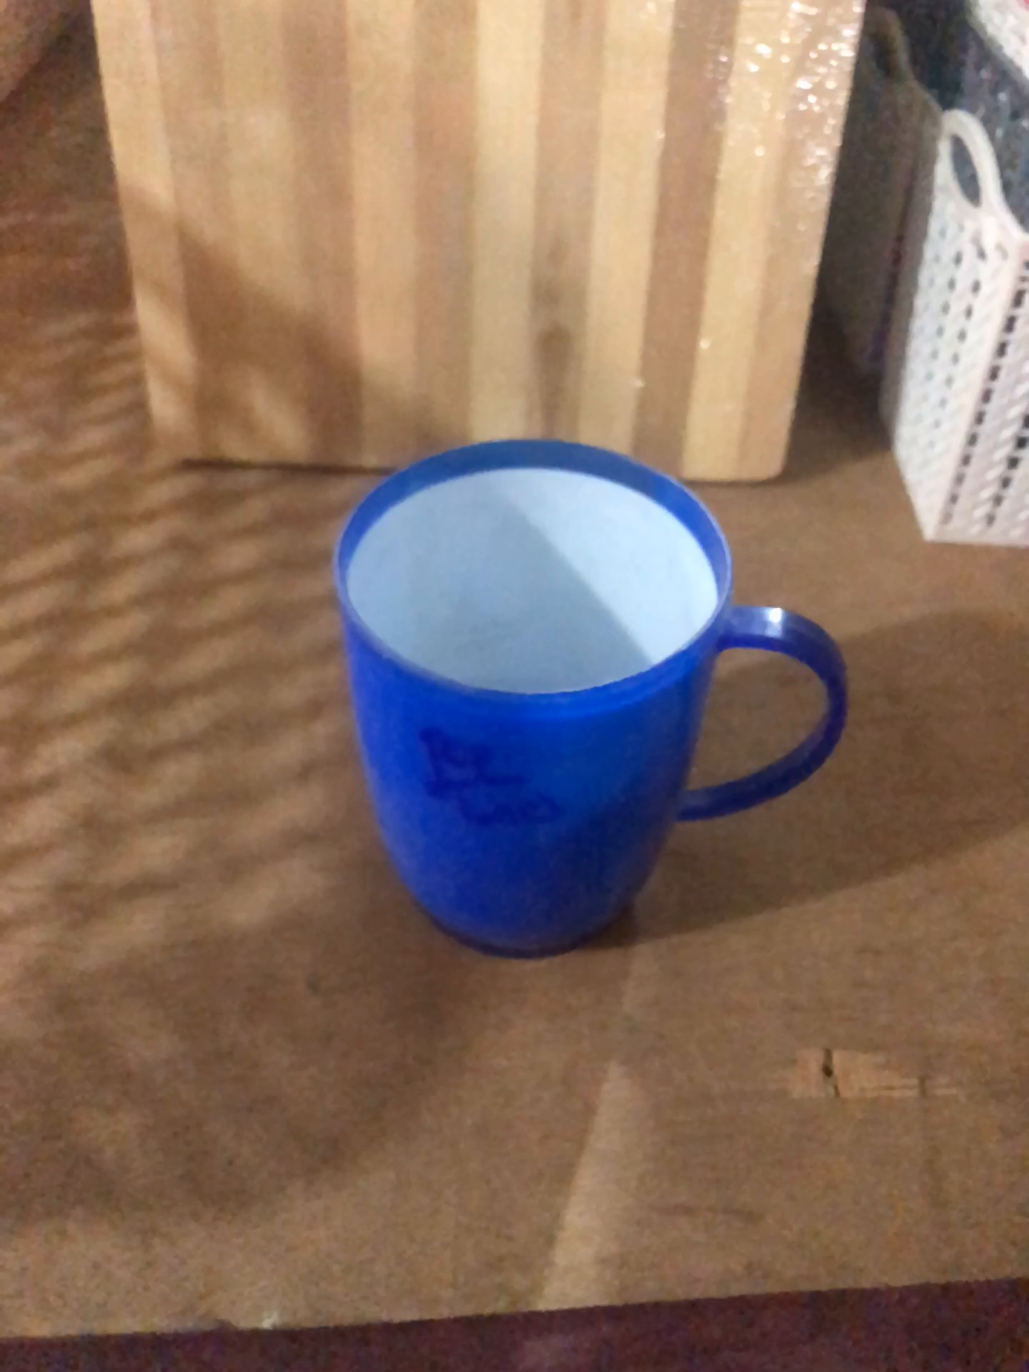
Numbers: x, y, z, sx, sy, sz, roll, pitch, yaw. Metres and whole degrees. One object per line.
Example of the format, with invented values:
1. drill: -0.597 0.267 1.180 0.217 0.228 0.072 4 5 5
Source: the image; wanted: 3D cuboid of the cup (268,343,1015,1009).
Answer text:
1. cup: 0.021 0.002 0.235 0.110 0.109 0.070 4 47 3
